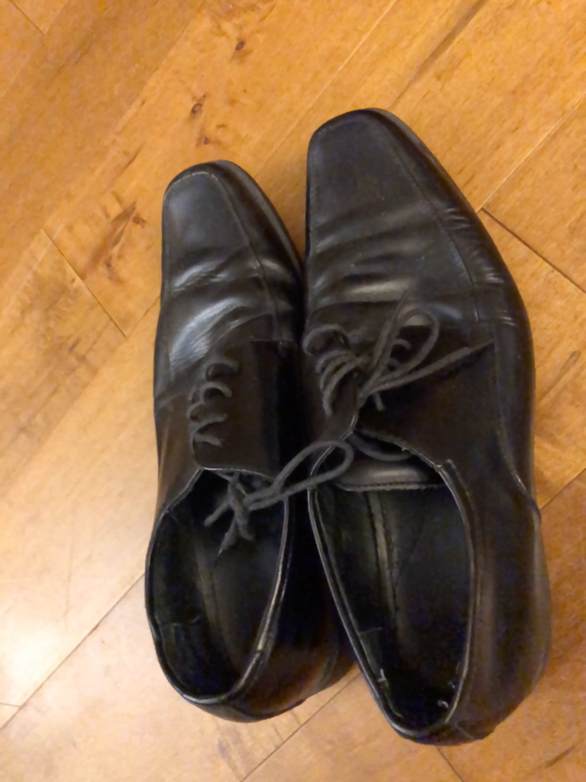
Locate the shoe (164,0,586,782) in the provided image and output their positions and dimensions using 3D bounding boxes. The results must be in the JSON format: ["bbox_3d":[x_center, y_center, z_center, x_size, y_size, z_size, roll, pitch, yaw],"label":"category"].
[{"bbox_3d":[0.044,-0.015,0.282,0.110,0.130,0.310,-15,76,26],"label":"shoe"}]

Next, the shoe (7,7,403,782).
[{"bbox_3d":[-0.045,0.003,0.330,0.110,0.130,0.310,-15,76,26],"label":"shoe"}]
